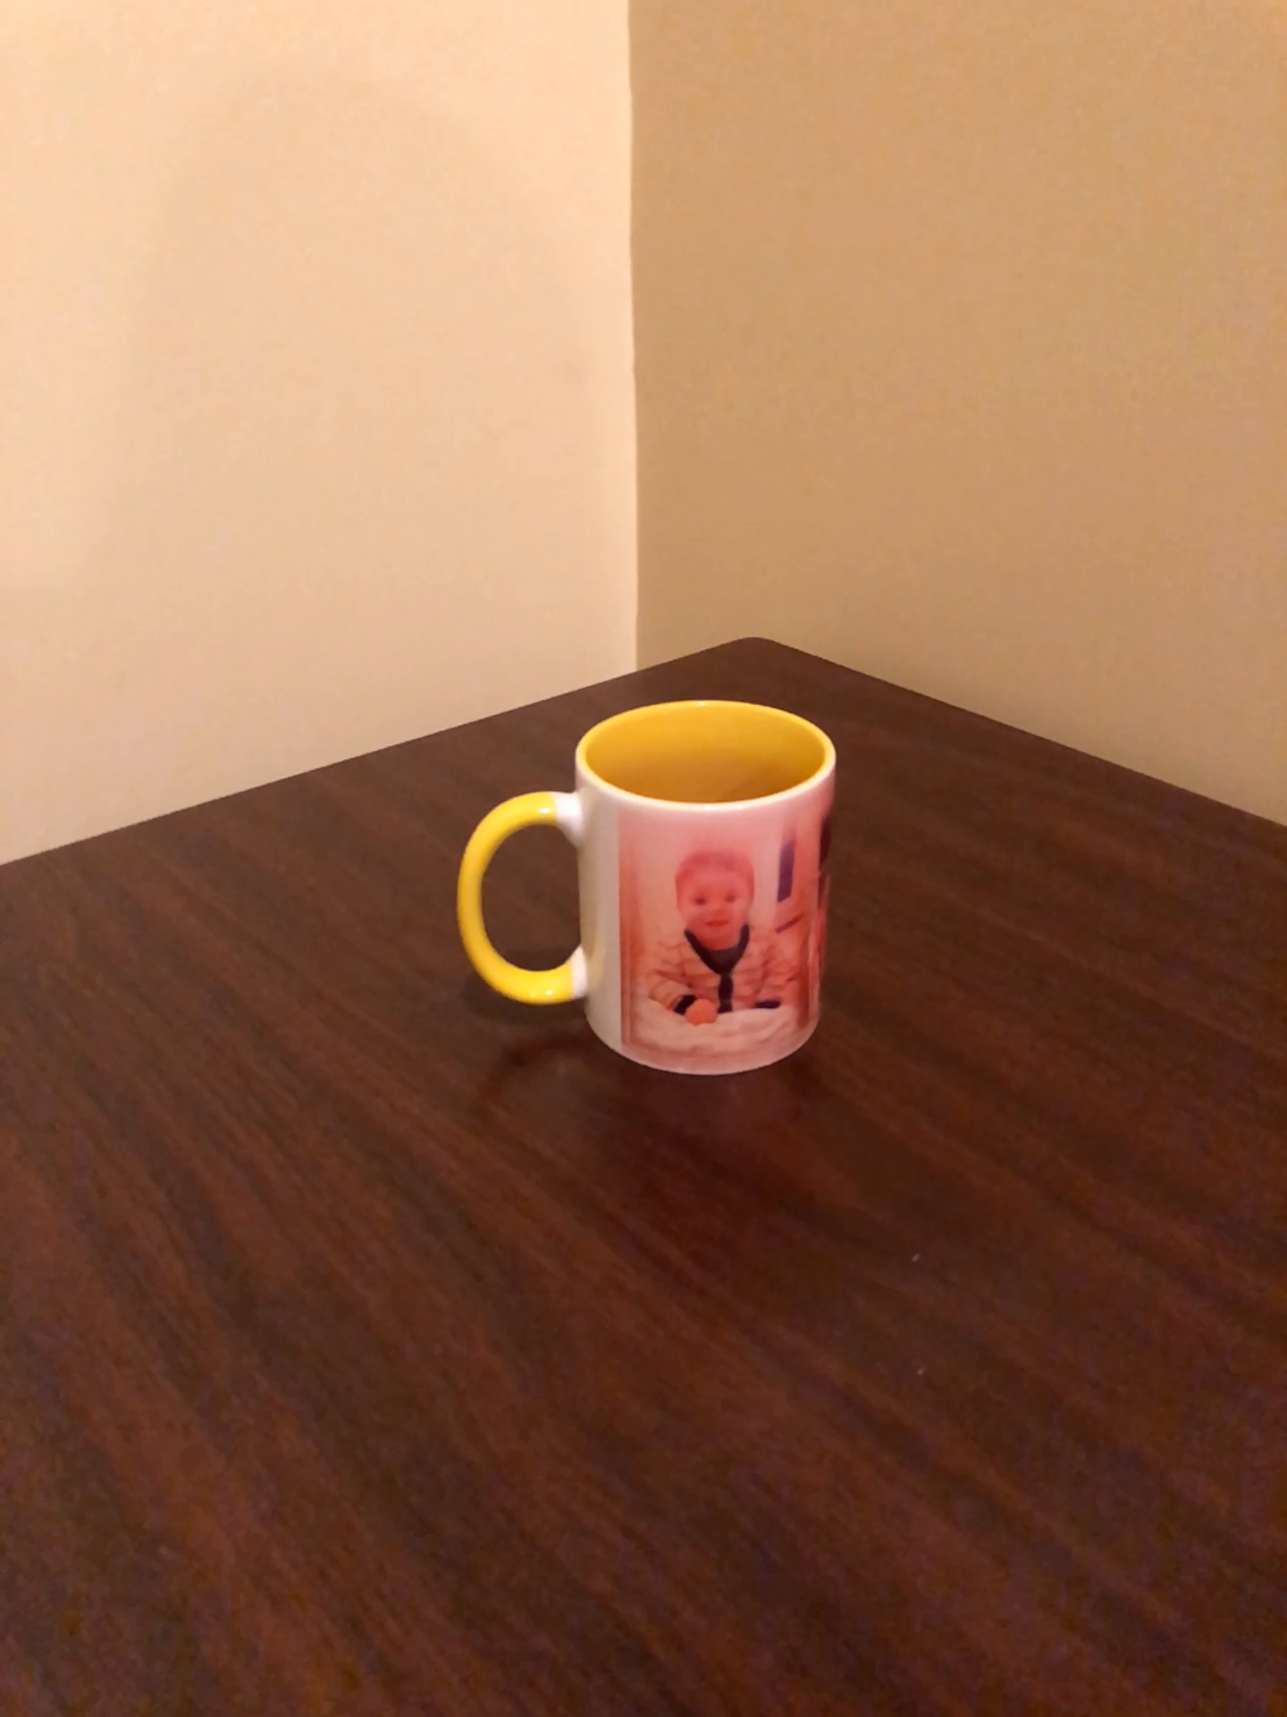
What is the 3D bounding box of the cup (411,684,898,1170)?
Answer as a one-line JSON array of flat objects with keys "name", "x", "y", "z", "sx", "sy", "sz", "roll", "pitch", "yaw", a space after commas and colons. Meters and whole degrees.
[{"name": "cup", "x": 0.000, "y": 0.016, "z": 0.440, "sx": 0.120, "sy": 0.100, "sz": 0.090, "roll": -10, "pitch": 29, "yaw": -18}]
